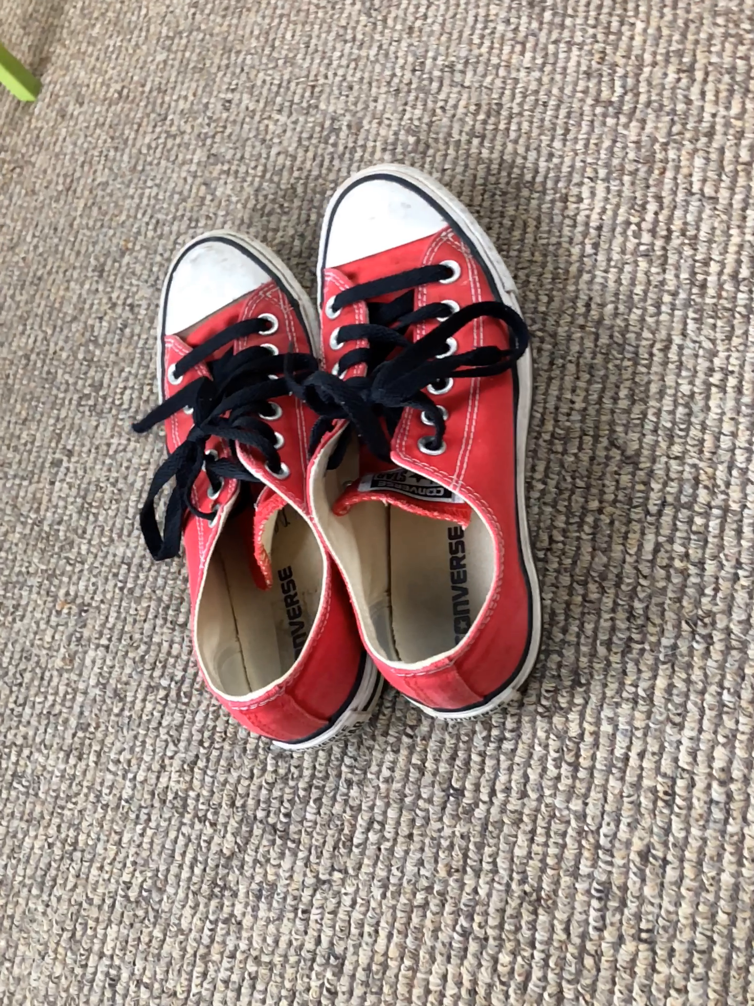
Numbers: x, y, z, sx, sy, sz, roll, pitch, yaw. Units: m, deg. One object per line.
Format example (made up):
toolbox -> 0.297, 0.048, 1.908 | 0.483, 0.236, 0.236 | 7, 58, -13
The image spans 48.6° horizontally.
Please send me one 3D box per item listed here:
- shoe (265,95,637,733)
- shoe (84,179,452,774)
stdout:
shoe -> 0.029, -0.038, 0.381 | 0.102, 0.088, 0.259 | -16, 68, 16
shoe -> -0.059, -0.012, 0.418 | 0.102, 0.097, 0.262 | -21, 67, 14
